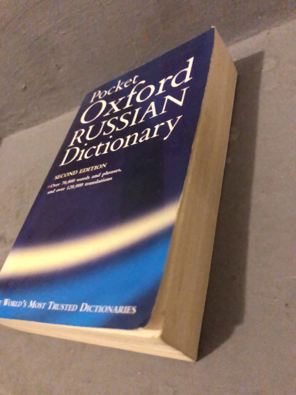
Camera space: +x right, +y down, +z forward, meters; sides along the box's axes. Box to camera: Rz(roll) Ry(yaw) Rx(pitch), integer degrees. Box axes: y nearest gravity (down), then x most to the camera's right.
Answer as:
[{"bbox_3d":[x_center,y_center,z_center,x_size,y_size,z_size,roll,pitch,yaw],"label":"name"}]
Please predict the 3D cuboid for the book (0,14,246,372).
[{"bbox_3d":[-0.020,-0.014,0.206,0.138,0.032,0.195,-11,50,37],"label":"book"}]
